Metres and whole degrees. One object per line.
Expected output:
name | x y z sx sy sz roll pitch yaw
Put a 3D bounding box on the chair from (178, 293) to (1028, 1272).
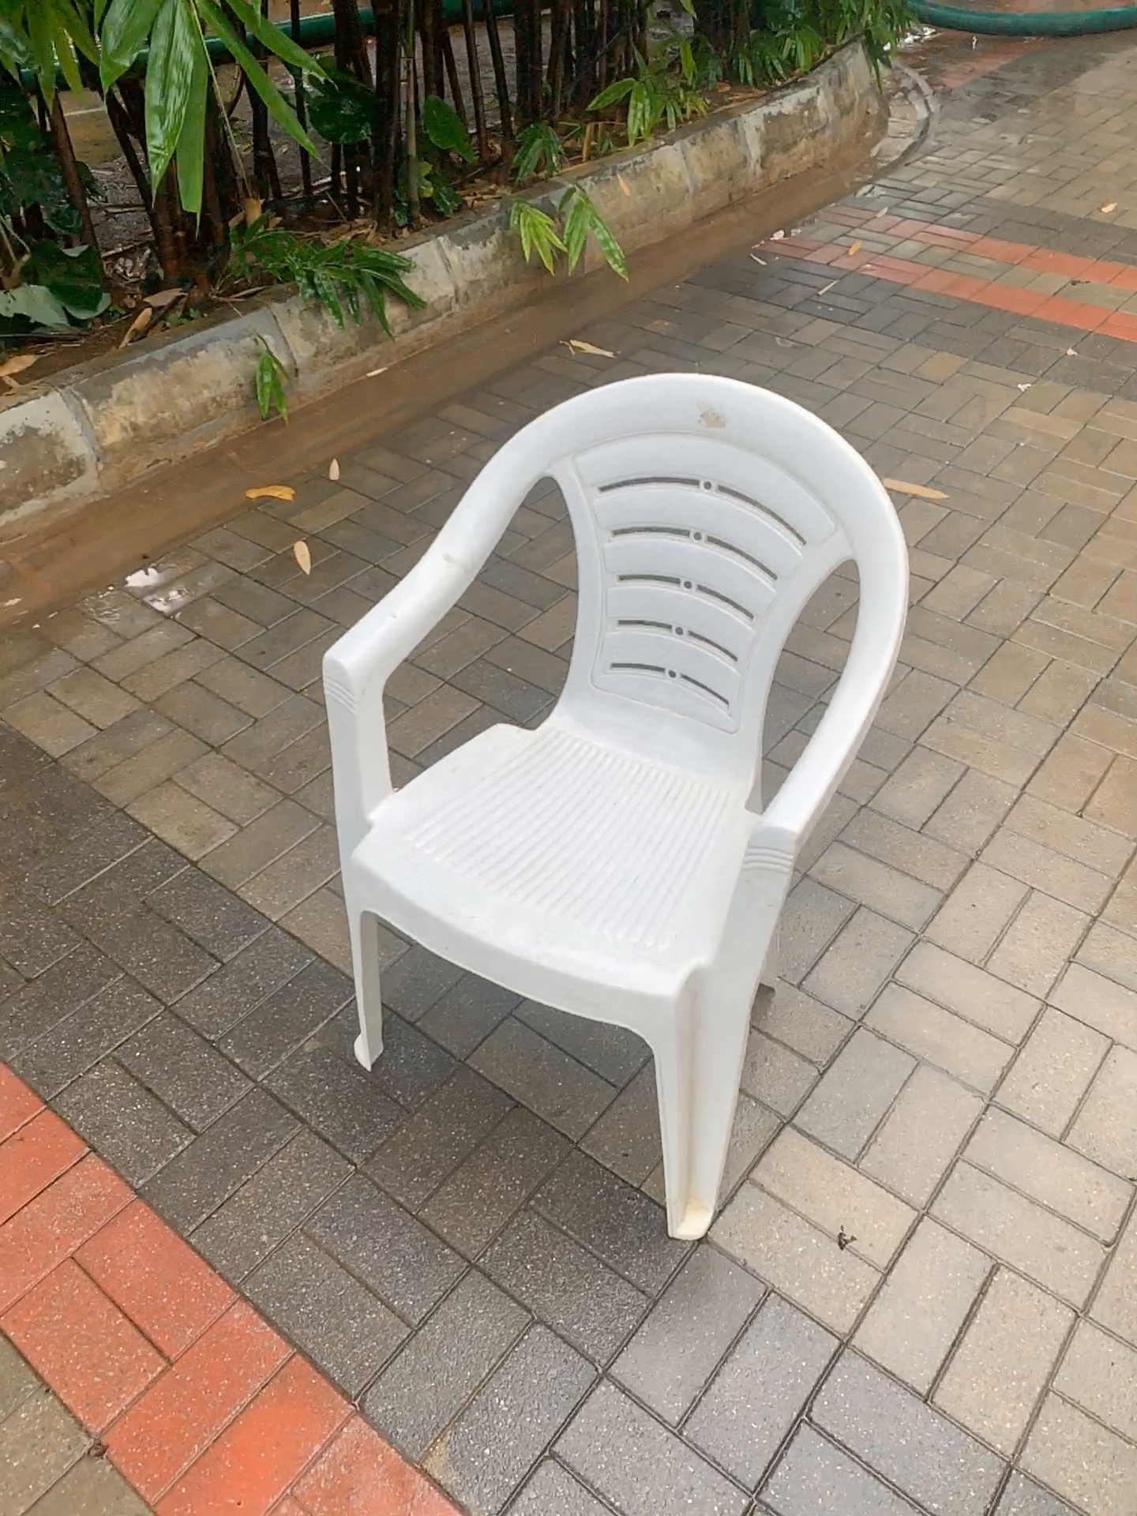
chair | 0.061 0.018 1.294 0.560 0.777 0.572 20 46 21
